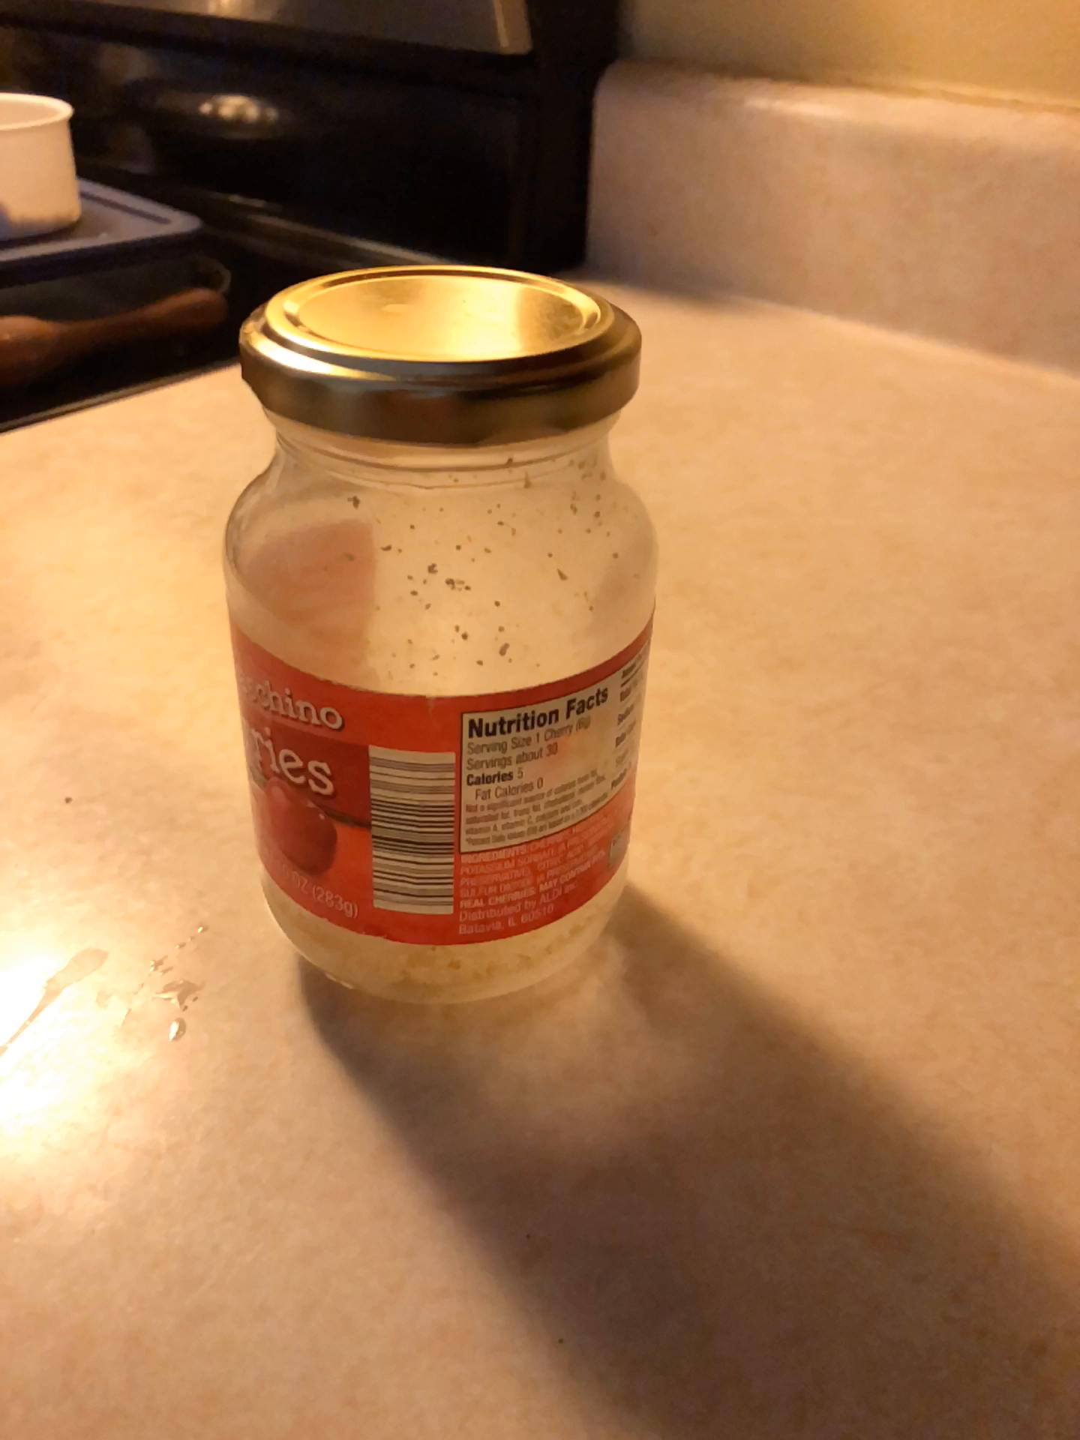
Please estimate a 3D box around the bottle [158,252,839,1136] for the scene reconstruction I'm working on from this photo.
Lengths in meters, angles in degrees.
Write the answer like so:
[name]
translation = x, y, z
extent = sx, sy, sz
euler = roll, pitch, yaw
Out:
[bottle]
translation = -0.011, -0.008, 0.194
extent = 0.070, 0.110, 0.070
euler = 2, 33, -1
